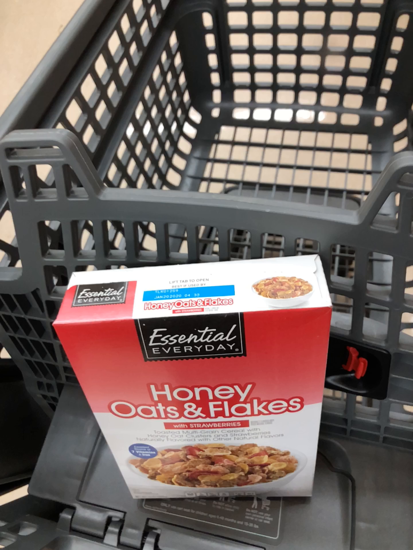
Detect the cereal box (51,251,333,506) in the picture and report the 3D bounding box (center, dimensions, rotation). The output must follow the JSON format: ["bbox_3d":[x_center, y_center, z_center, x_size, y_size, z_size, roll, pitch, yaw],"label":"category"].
[{"bbox_3d":[0.002,0.108,0.396,0.180,0.260,0.060,-4,39,5],"label":"cereal box"}]
